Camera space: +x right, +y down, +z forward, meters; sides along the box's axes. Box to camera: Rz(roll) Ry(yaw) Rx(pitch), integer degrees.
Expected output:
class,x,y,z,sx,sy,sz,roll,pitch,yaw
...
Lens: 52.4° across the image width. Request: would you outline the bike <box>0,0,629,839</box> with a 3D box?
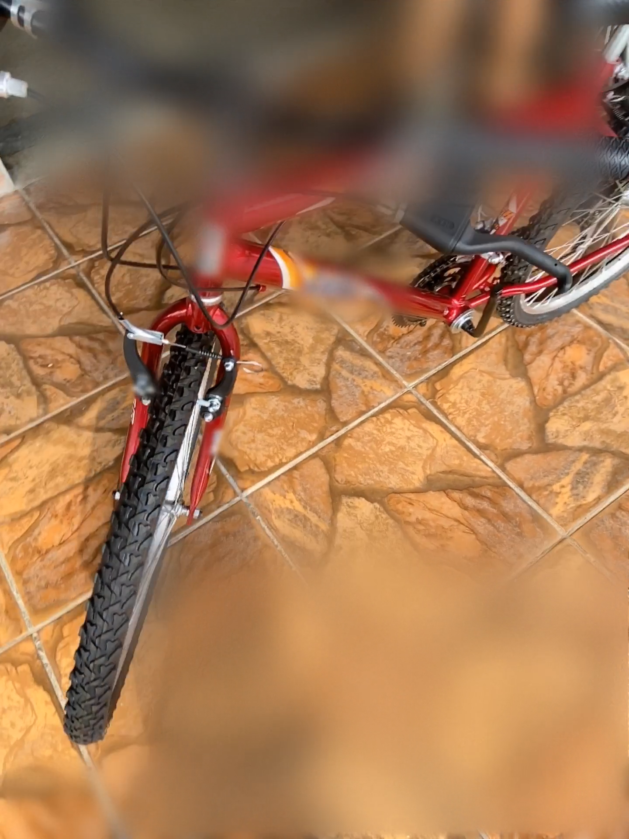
class,x,y,z,sx,sy,sz,roll,pitch,yaw
bike,0.294,-0.148,0.881,1.559,0.986,0.600,-39,58,-18
